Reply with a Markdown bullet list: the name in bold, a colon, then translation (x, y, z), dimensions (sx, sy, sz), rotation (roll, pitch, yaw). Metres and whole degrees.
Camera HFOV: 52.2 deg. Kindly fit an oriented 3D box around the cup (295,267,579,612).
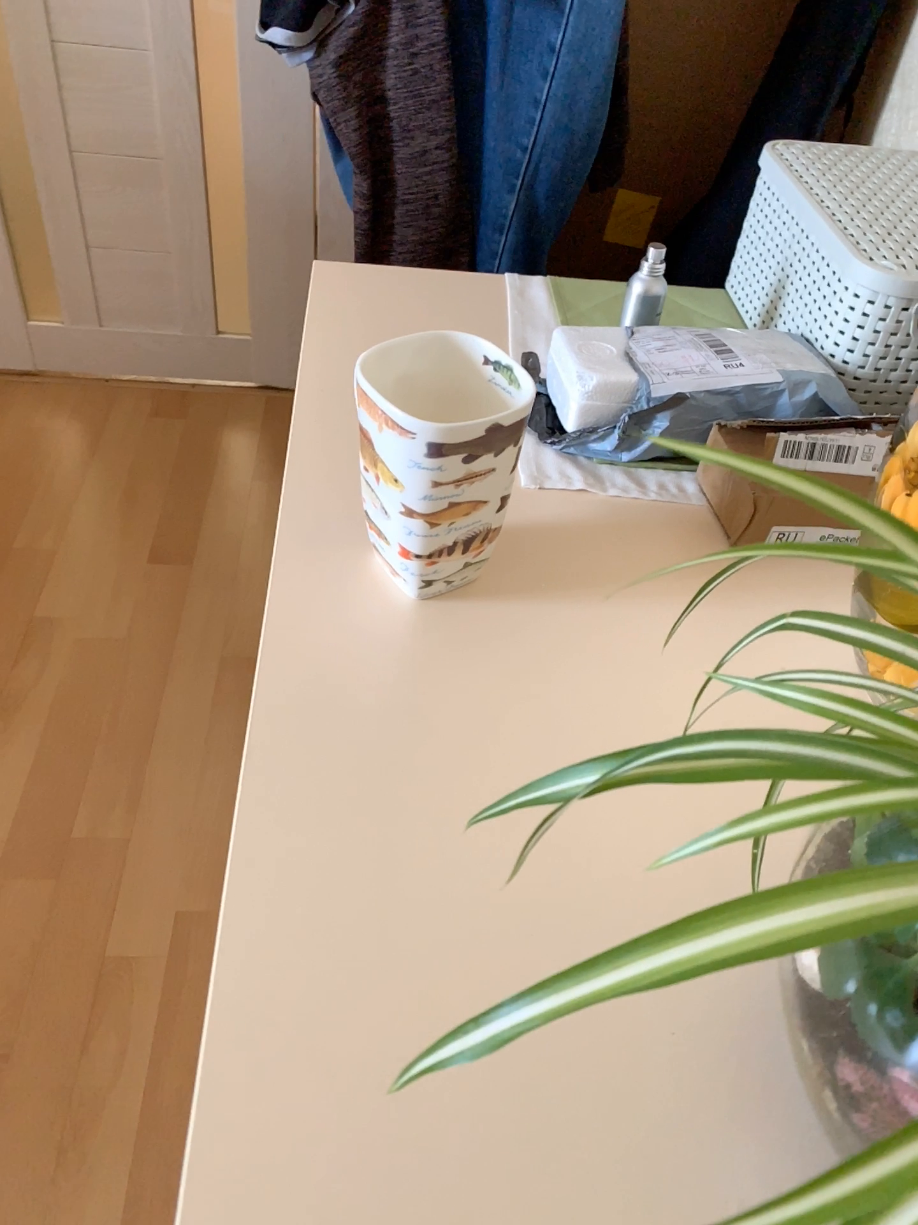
- **cup**: translation (-0.022, -0.106, 0.557), dimensions (0.100, 0.129, 0.141), rotation (-19, 50, -25)
